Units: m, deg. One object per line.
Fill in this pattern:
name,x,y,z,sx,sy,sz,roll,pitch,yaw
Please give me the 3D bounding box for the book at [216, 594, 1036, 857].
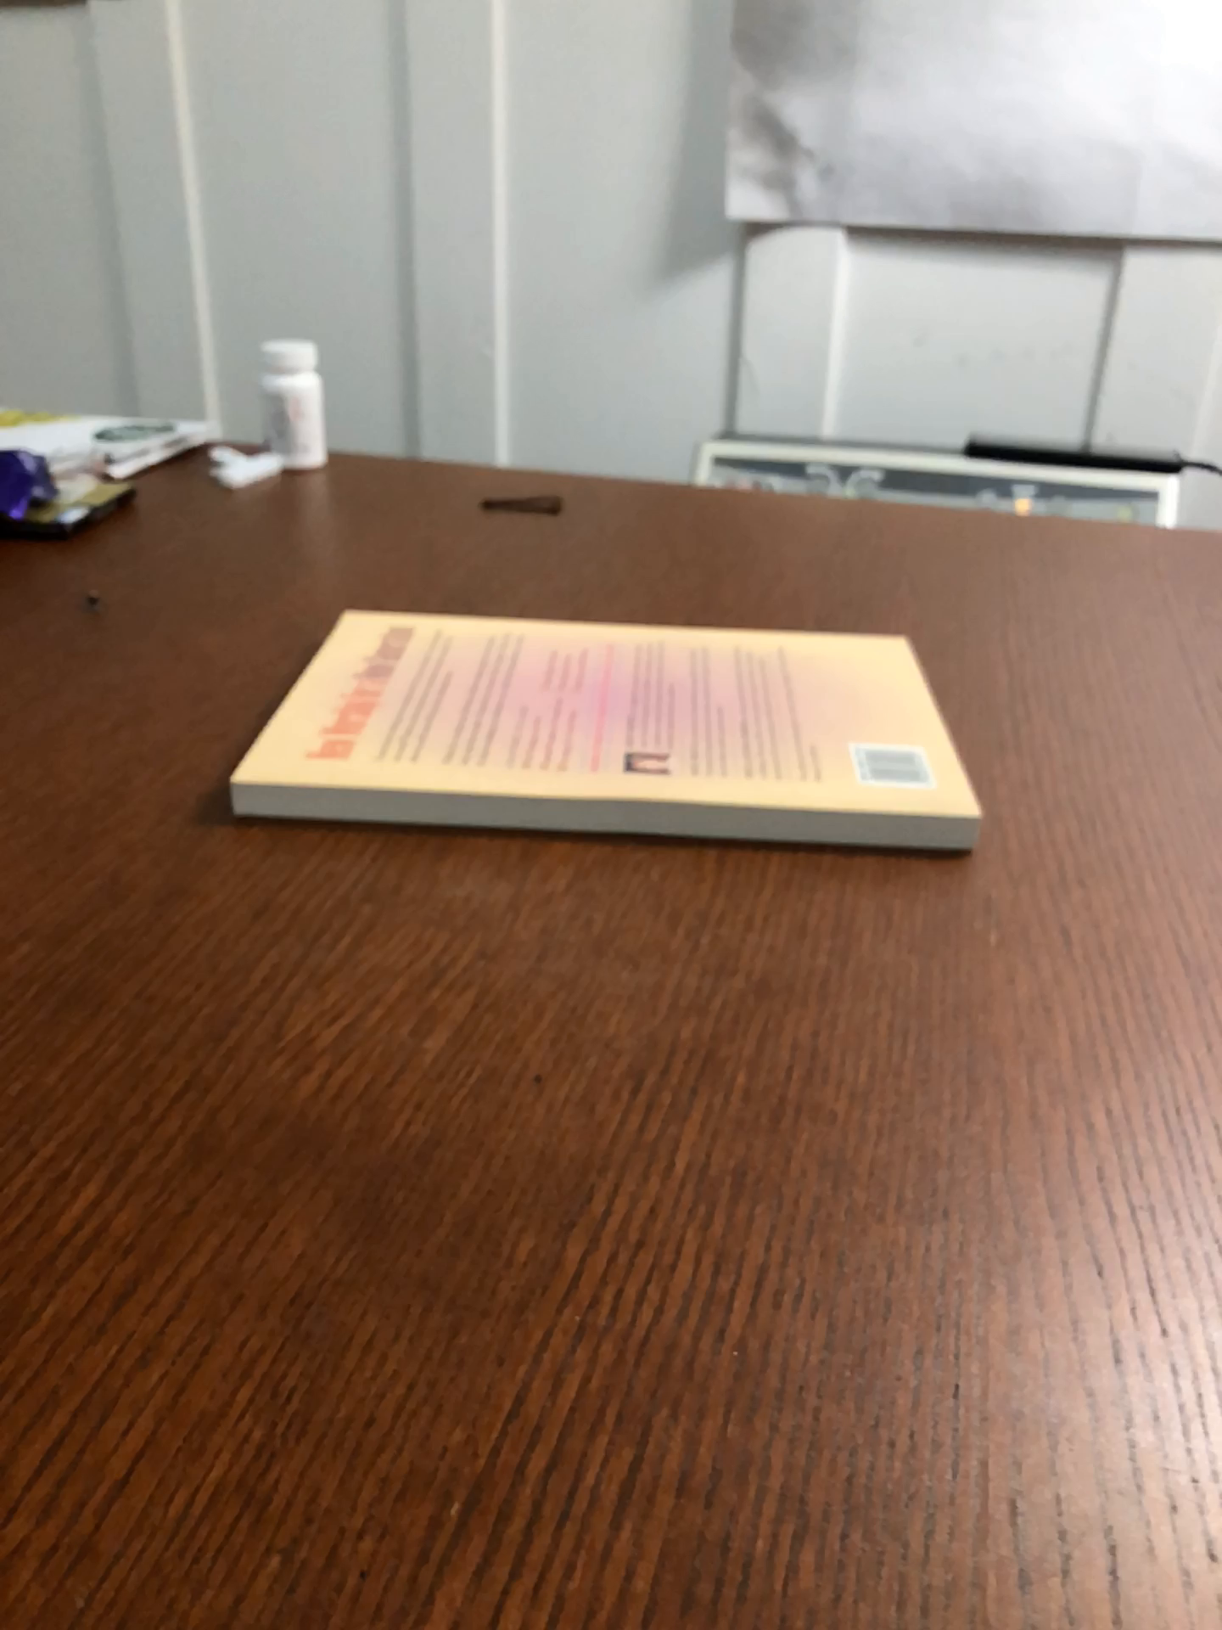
book,0.007,-0.043,0.539,0.270,0.020,0.191,2,27,0
